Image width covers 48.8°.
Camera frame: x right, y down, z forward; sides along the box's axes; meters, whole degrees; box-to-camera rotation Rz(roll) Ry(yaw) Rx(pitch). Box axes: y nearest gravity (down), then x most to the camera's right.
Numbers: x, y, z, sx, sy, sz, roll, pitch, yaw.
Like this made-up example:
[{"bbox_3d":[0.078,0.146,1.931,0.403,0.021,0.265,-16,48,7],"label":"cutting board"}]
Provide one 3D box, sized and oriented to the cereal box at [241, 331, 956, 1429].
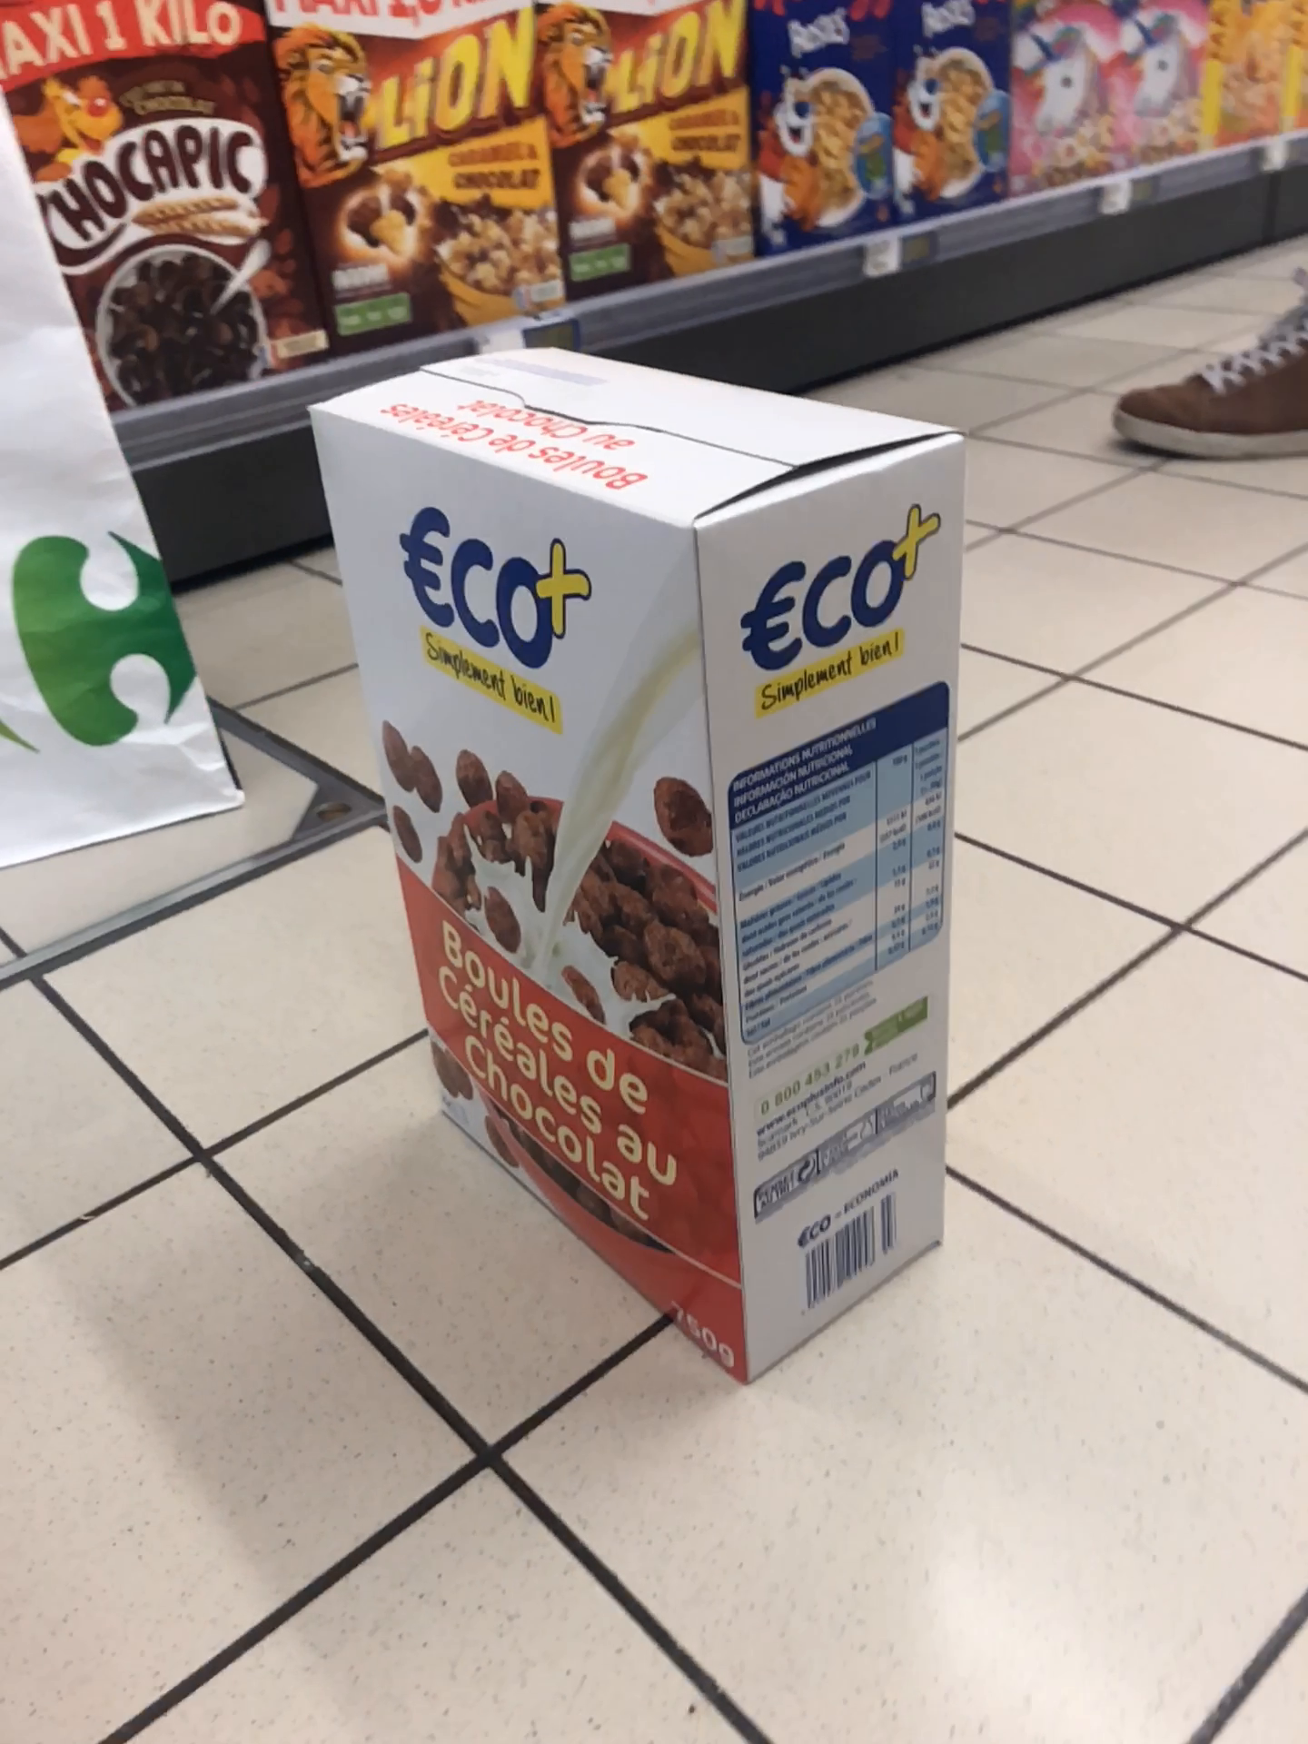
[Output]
[{"bbox_3d":[-0.016,-0.007,0.485,0.100,0.298,0.210,-25,35,-30],"label":"cereal box"}]
